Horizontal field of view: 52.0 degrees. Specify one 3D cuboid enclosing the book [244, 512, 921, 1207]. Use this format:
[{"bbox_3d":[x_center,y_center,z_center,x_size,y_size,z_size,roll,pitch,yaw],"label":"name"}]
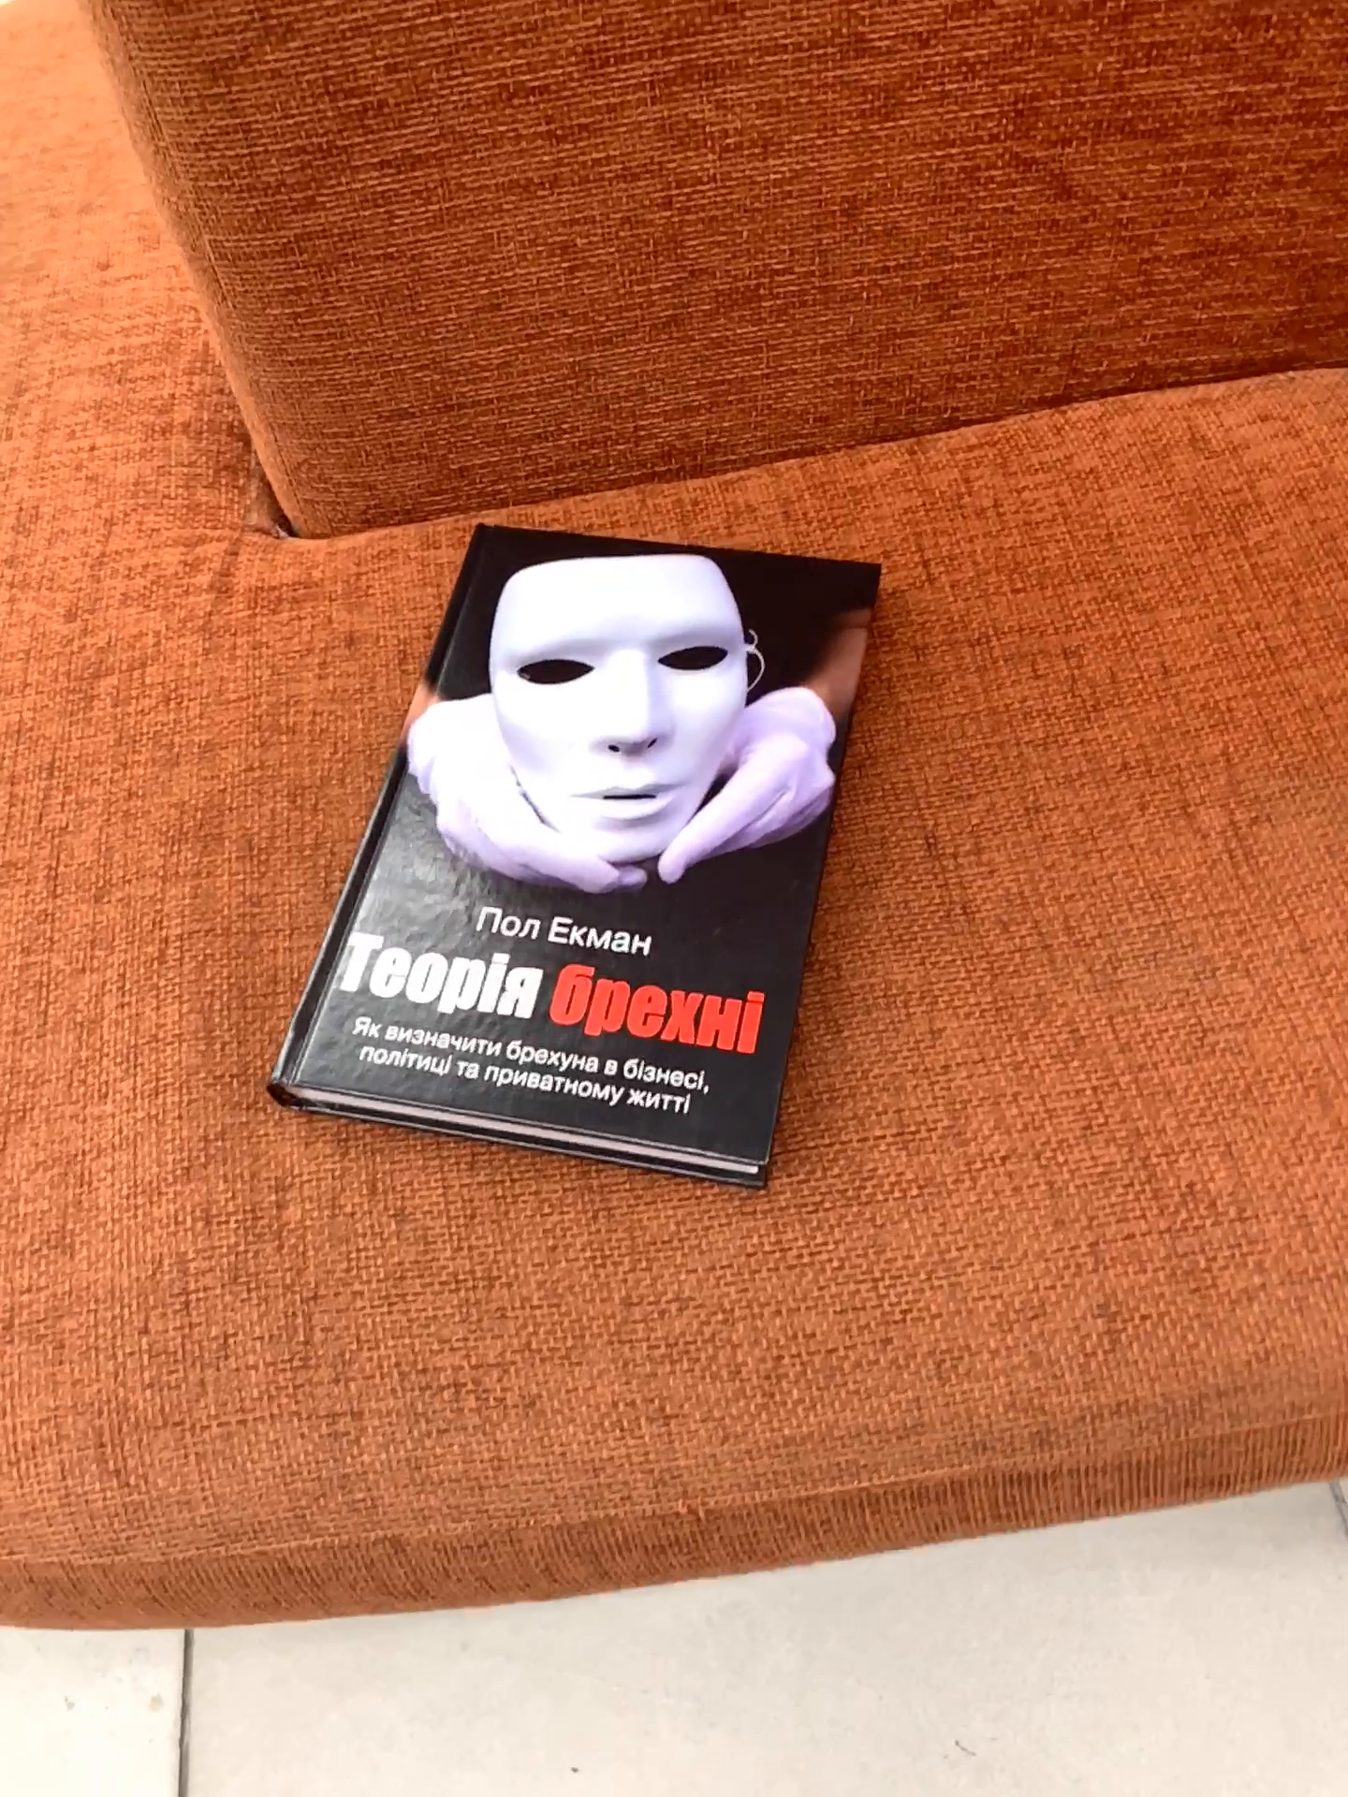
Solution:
[{"bbox_3d":[-0.016,-0.026,0.411,0.150,0.030,0.209,7,59,12],"label":"book"}]
